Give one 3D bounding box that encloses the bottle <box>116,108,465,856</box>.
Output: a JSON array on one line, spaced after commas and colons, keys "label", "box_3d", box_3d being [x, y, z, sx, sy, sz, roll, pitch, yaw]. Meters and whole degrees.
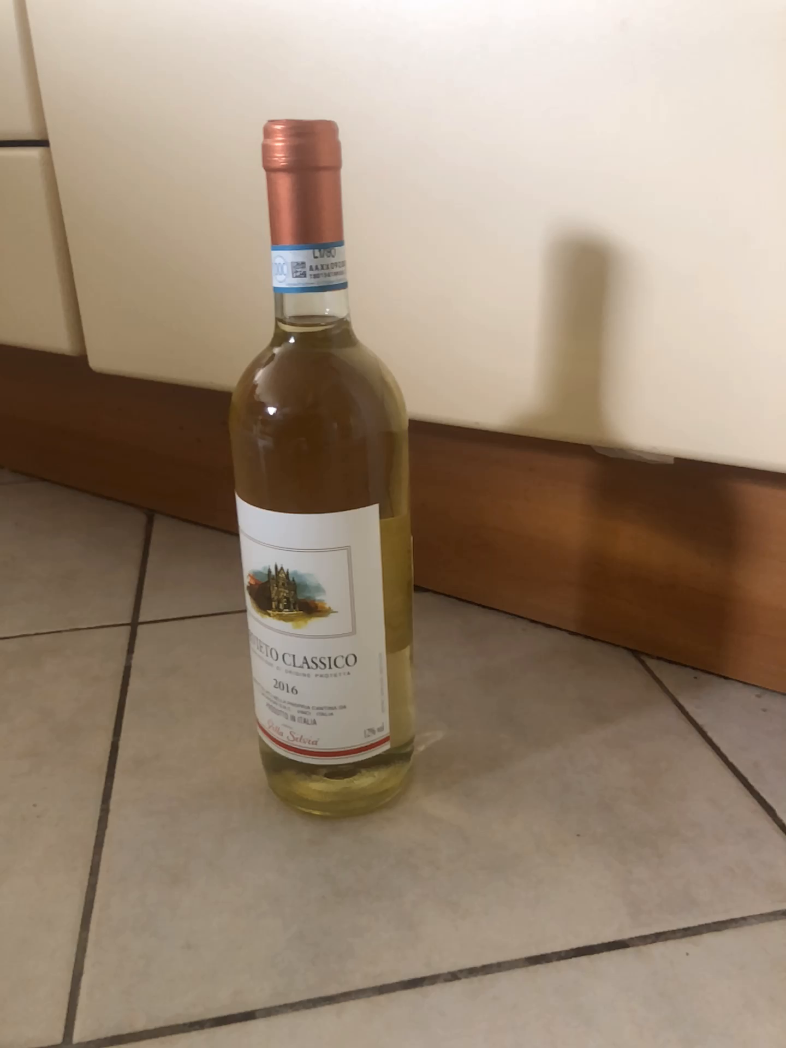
[{"label": "bottle", "box_3d": [-0.031, -0.016, 0.371, 0.090, 0.289, 0.091, -1, 23, 0]}]
